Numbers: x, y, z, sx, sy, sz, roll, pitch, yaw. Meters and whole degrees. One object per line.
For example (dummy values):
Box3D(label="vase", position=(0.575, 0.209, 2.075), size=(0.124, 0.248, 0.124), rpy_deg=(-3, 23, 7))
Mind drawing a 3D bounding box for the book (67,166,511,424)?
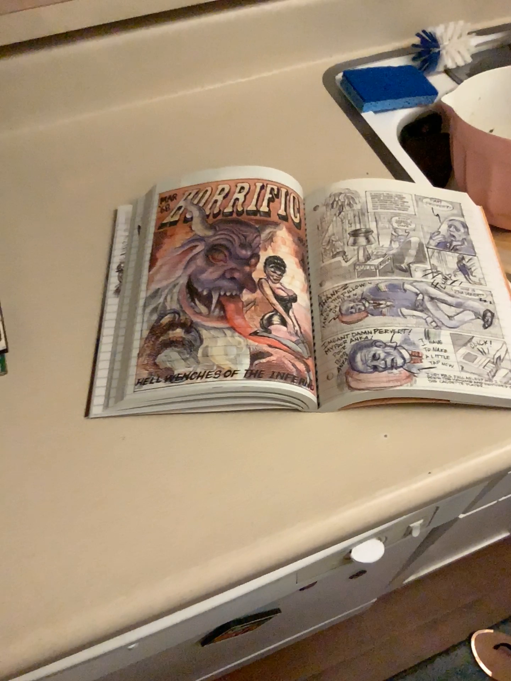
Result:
Box3D(label="book", position=(0.057, -0.059, 0.568), size=(0.430, 0.050, 0.280), rpy_deg=(-1, 57, -1))
